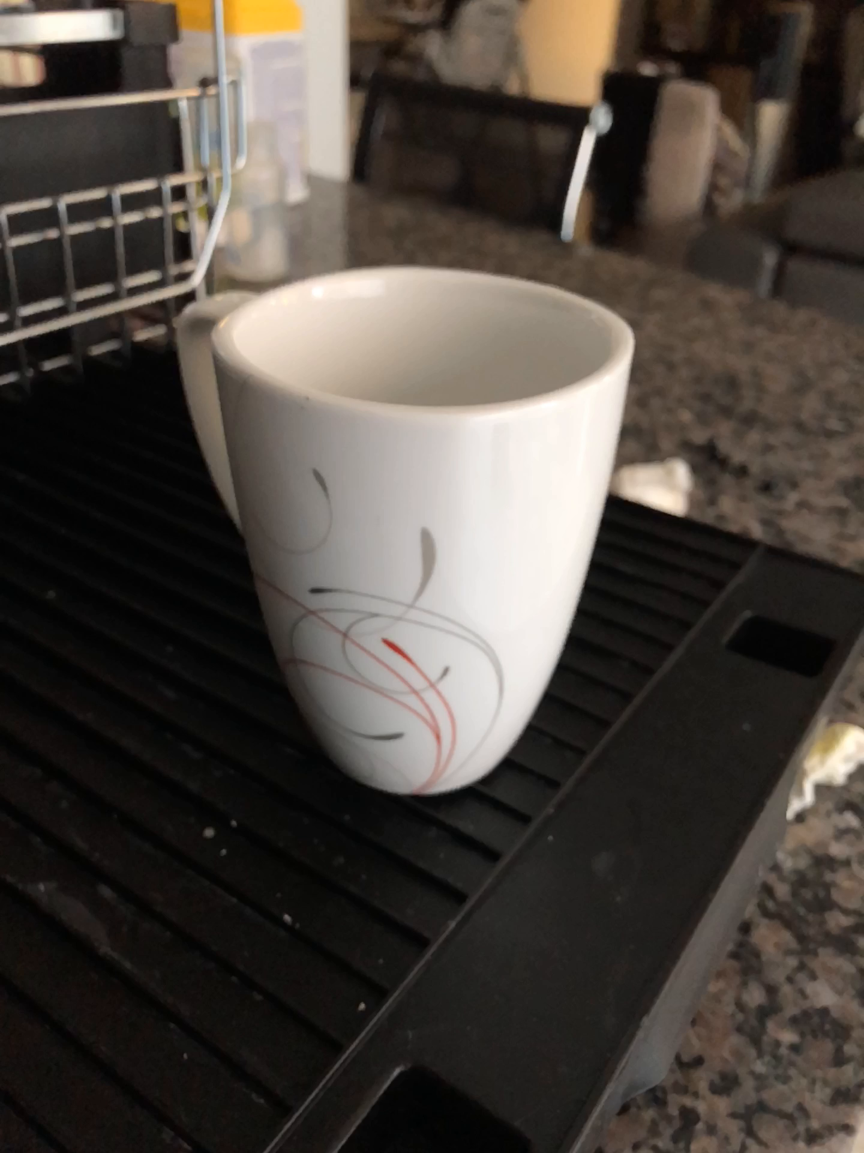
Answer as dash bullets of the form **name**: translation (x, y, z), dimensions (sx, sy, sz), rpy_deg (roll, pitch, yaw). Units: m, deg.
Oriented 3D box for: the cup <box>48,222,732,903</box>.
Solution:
- **cup**: translation (-0.010, -0.014, 0.238), dimensions (0.116, 0.105, 0.088), rpy_deg (23, 38, 27)
